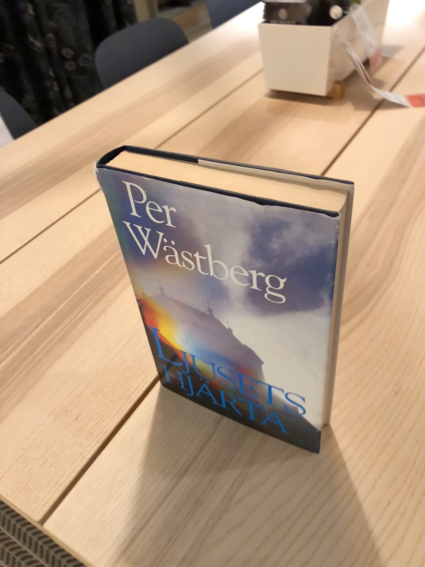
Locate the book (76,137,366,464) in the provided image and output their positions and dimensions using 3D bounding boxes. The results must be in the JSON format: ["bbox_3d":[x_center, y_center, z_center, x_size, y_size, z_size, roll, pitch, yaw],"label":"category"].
[{"bbox_3d":[0.009,0.020,0.341,0.166,0.221,0.042,17,47,27],"label":"book"}]
